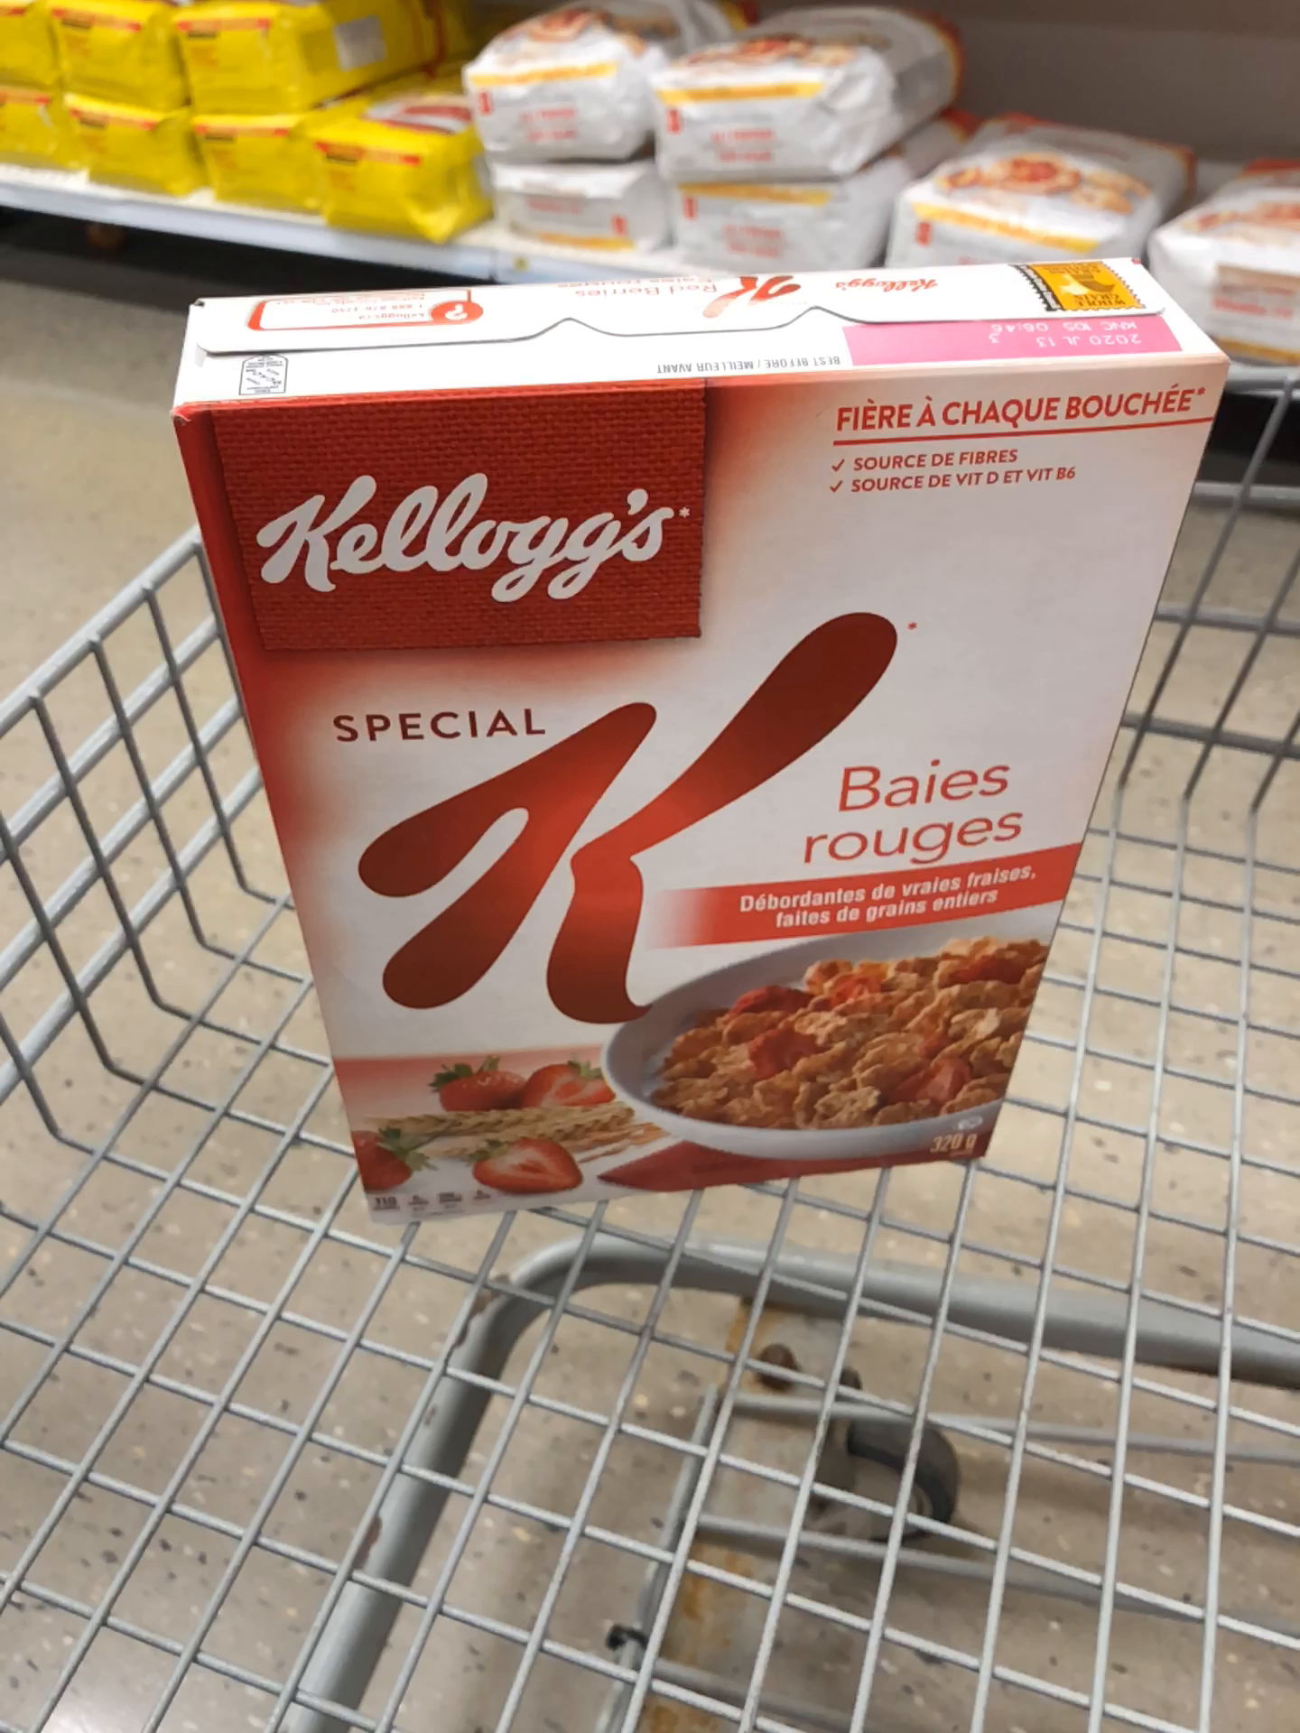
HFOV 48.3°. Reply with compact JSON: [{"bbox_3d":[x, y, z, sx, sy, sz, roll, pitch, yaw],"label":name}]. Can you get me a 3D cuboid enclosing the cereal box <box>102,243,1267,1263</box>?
[{"bbox_3d":[0.007,-0.006,0.368,0.210,0.269,0.050,-4,42,-5],"label":"cereal box"}]
